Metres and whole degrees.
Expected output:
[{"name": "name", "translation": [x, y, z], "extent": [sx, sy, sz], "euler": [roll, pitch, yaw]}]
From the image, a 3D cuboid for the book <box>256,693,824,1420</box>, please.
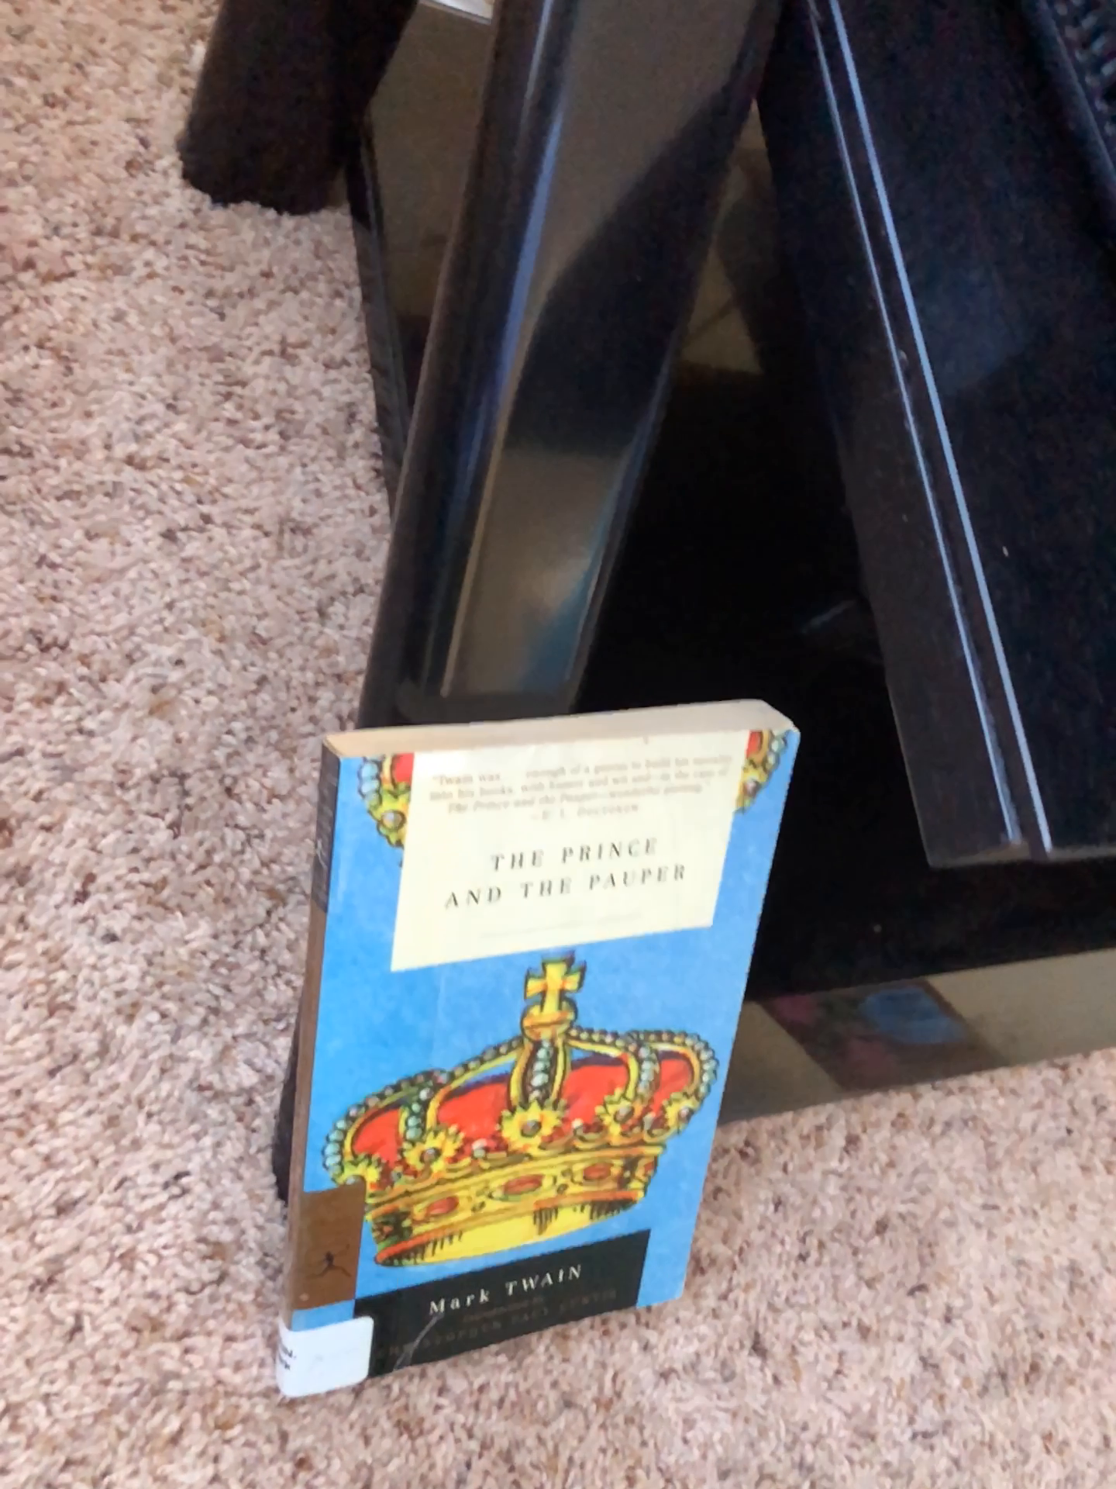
[{"name": "book", "translation": [-0.008, 0.083, 0.342], "extent": [0.130, 0.030, 0.193], "euler": [-2, 113, -31]}]
